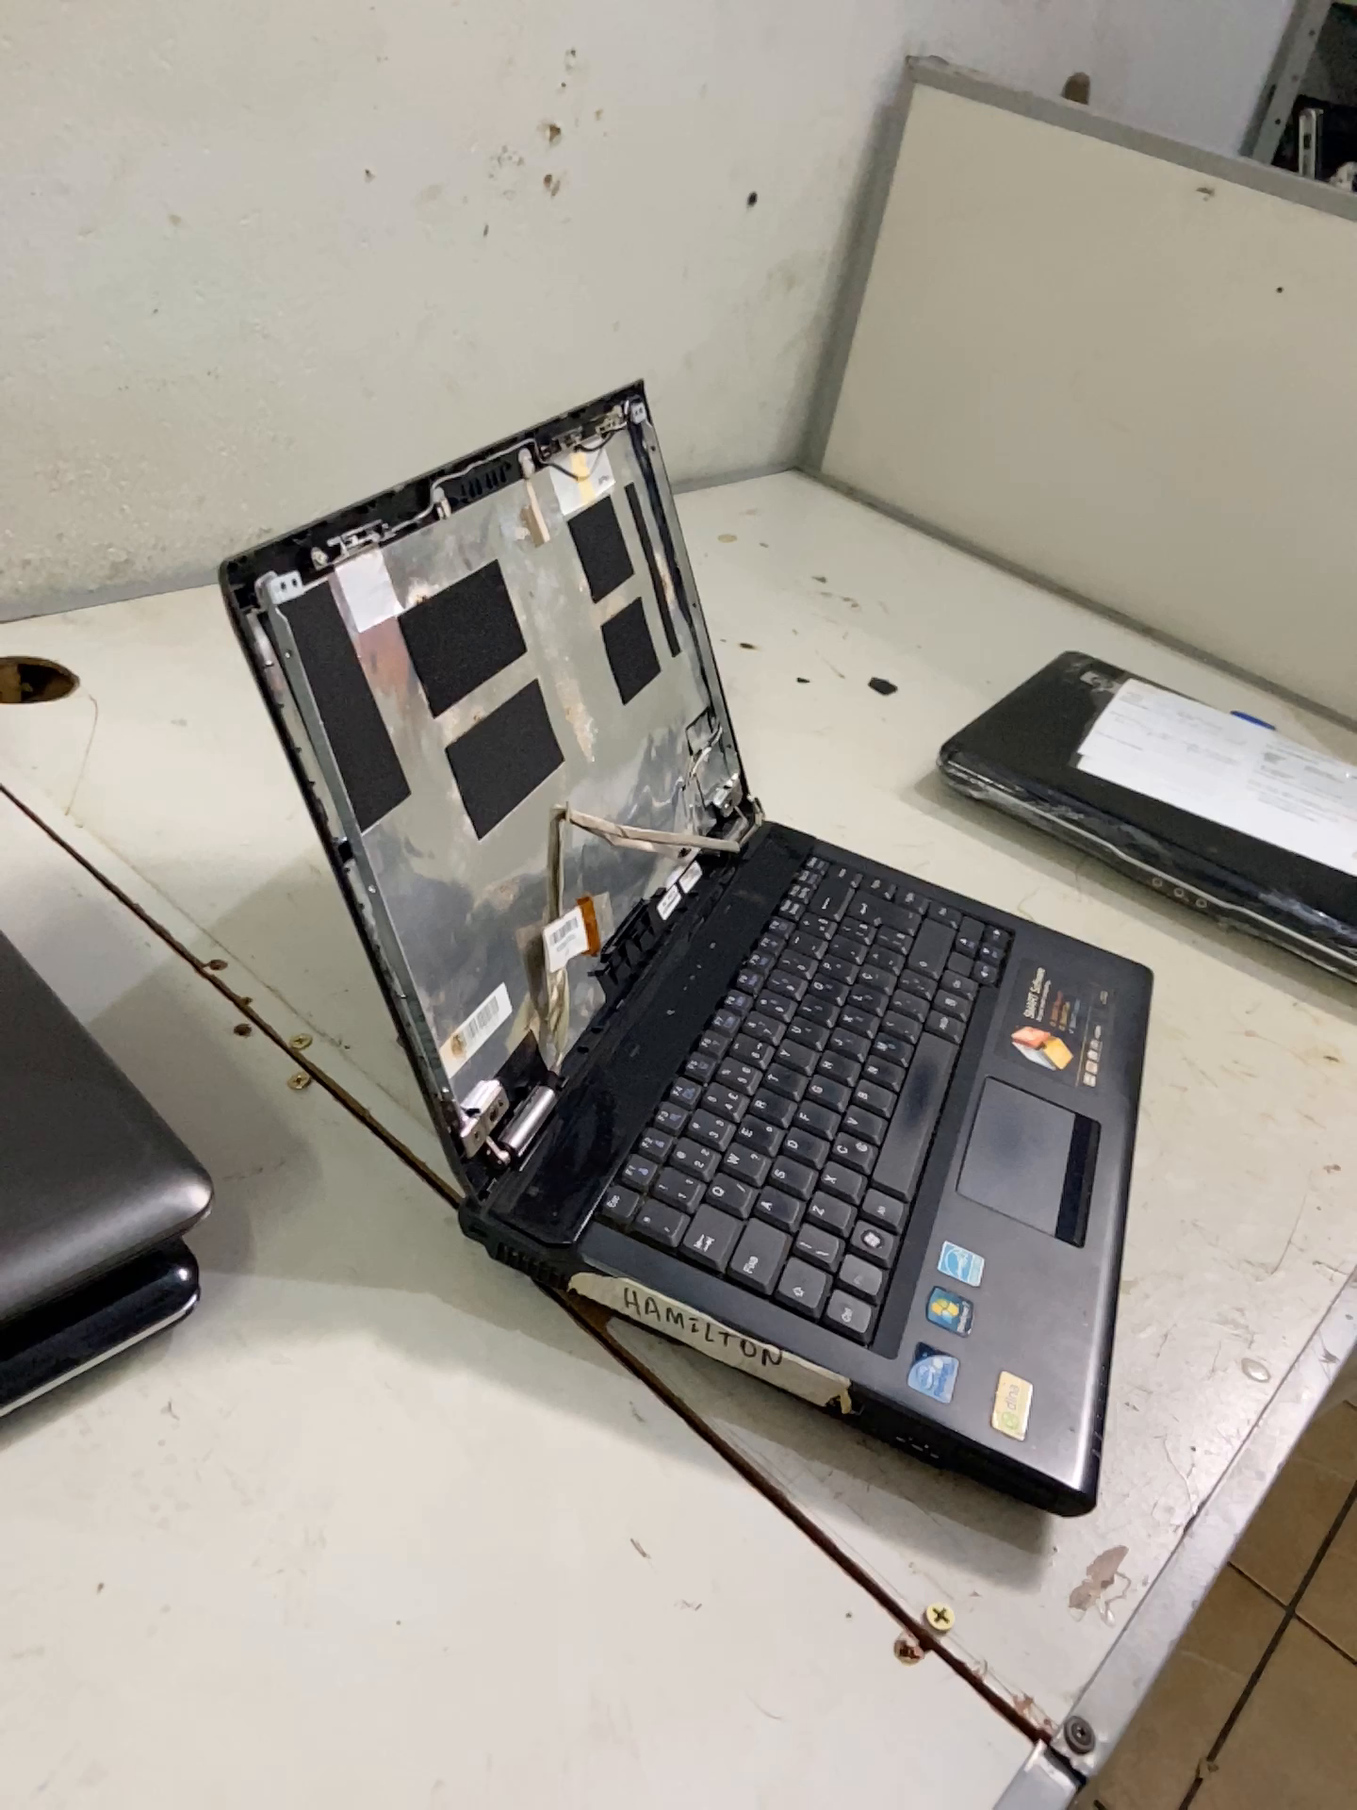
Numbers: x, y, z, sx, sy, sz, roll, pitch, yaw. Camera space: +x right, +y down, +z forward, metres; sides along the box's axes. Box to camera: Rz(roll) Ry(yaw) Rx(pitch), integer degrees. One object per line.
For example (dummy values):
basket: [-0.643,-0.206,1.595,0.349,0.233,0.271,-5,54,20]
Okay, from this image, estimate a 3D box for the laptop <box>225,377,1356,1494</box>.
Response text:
laptop: [0.060,-0.032,0.567,0.335,0.205,0.335,22,35,11]
